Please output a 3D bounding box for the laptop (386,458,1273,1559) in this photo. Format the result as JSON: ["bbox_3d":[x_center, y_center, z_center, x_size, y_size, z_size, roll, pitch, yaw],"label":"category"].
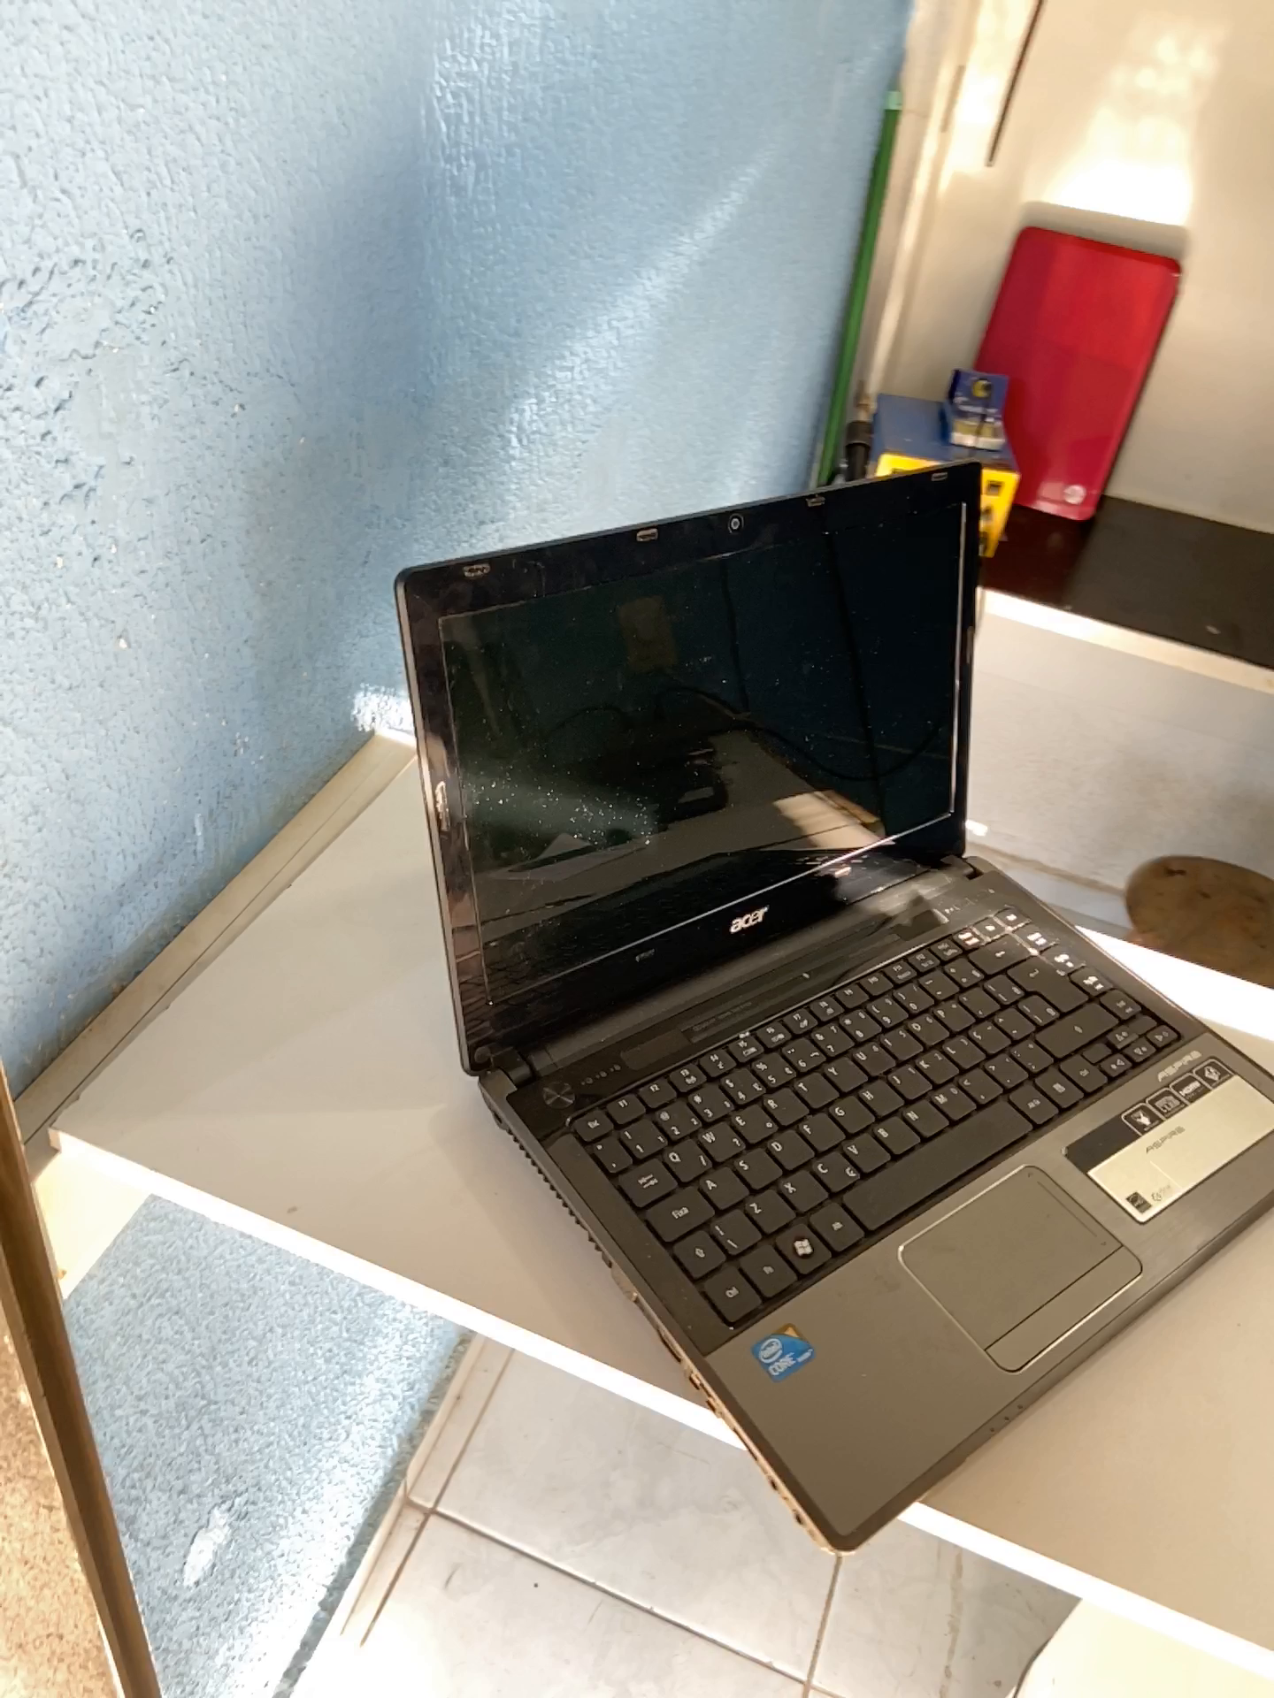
[{"bbox_3d":[0.120,0.017,0.558,0.338,0.207,0.319,-20,46,-32],"label":"laptop"}]
